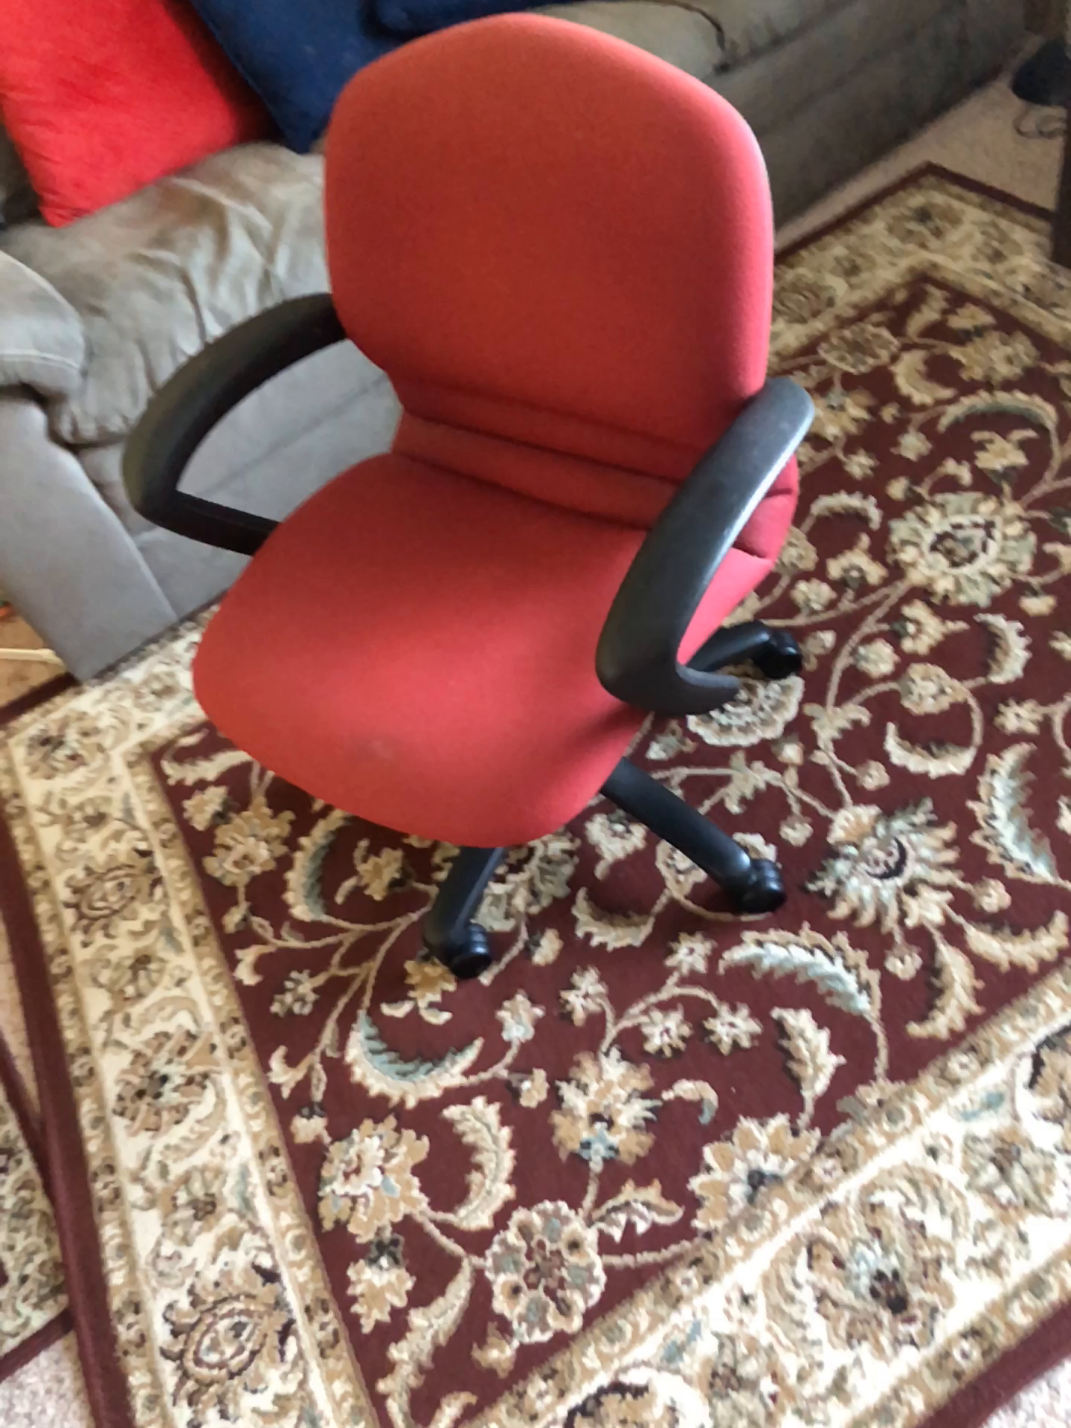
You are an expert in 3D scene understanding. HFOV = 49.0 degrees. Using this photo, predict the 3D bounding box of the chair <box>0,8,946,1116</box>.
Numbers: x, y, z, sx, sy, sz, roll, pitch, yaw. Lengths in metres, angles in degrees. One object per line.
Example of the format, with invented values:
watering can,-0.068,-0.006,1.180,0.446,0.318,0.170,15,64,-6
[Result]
chair,-0.049,-0.162,1.170,0.652,0.728,0.620,24,62,32
